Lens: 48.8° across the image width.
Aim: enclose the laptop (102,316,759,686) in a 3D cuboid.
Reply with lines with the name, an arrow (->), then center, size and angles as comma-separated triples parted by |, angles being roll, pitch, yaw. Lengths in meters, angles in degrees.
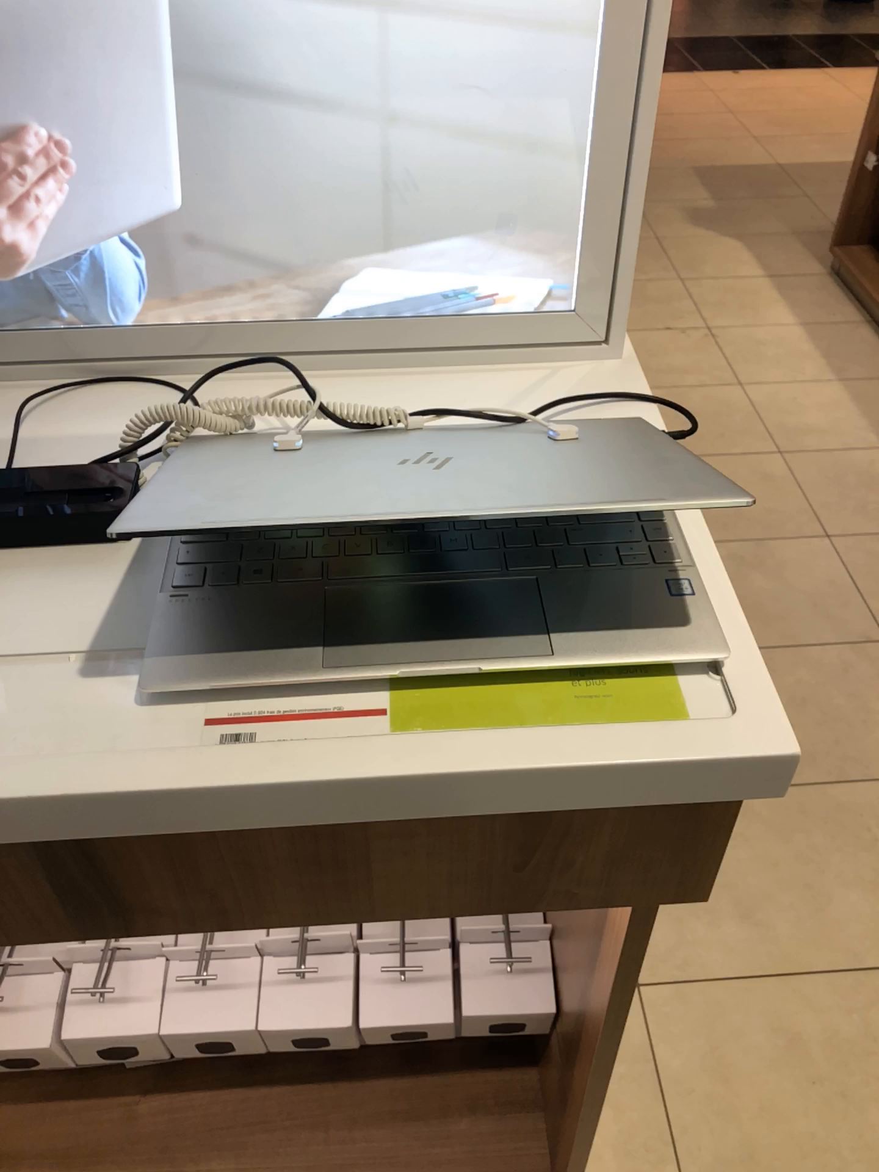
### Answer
laptop -> -0.009, -0.058, 0.541 | 0.298, 0.078, 0.212 | -3, 44, -3
